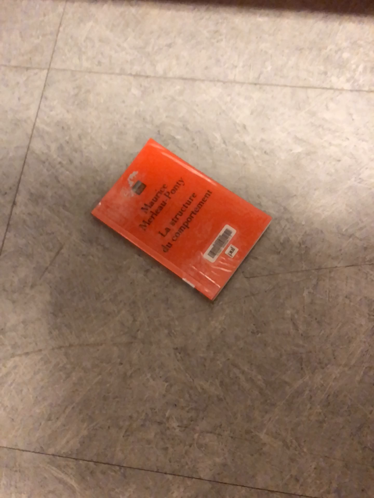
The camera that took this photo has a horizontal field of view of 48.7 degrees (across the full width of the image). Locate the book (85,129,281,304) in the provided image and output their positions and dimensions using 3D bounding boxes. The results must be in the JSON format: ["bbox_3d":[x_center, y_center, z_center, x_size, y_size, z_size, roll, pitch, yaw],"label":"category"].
[{"bbox_3d":[-0.006,-0.046,0.518,0.200,0.020,0.135,35,79,13],"label":"book"}]
